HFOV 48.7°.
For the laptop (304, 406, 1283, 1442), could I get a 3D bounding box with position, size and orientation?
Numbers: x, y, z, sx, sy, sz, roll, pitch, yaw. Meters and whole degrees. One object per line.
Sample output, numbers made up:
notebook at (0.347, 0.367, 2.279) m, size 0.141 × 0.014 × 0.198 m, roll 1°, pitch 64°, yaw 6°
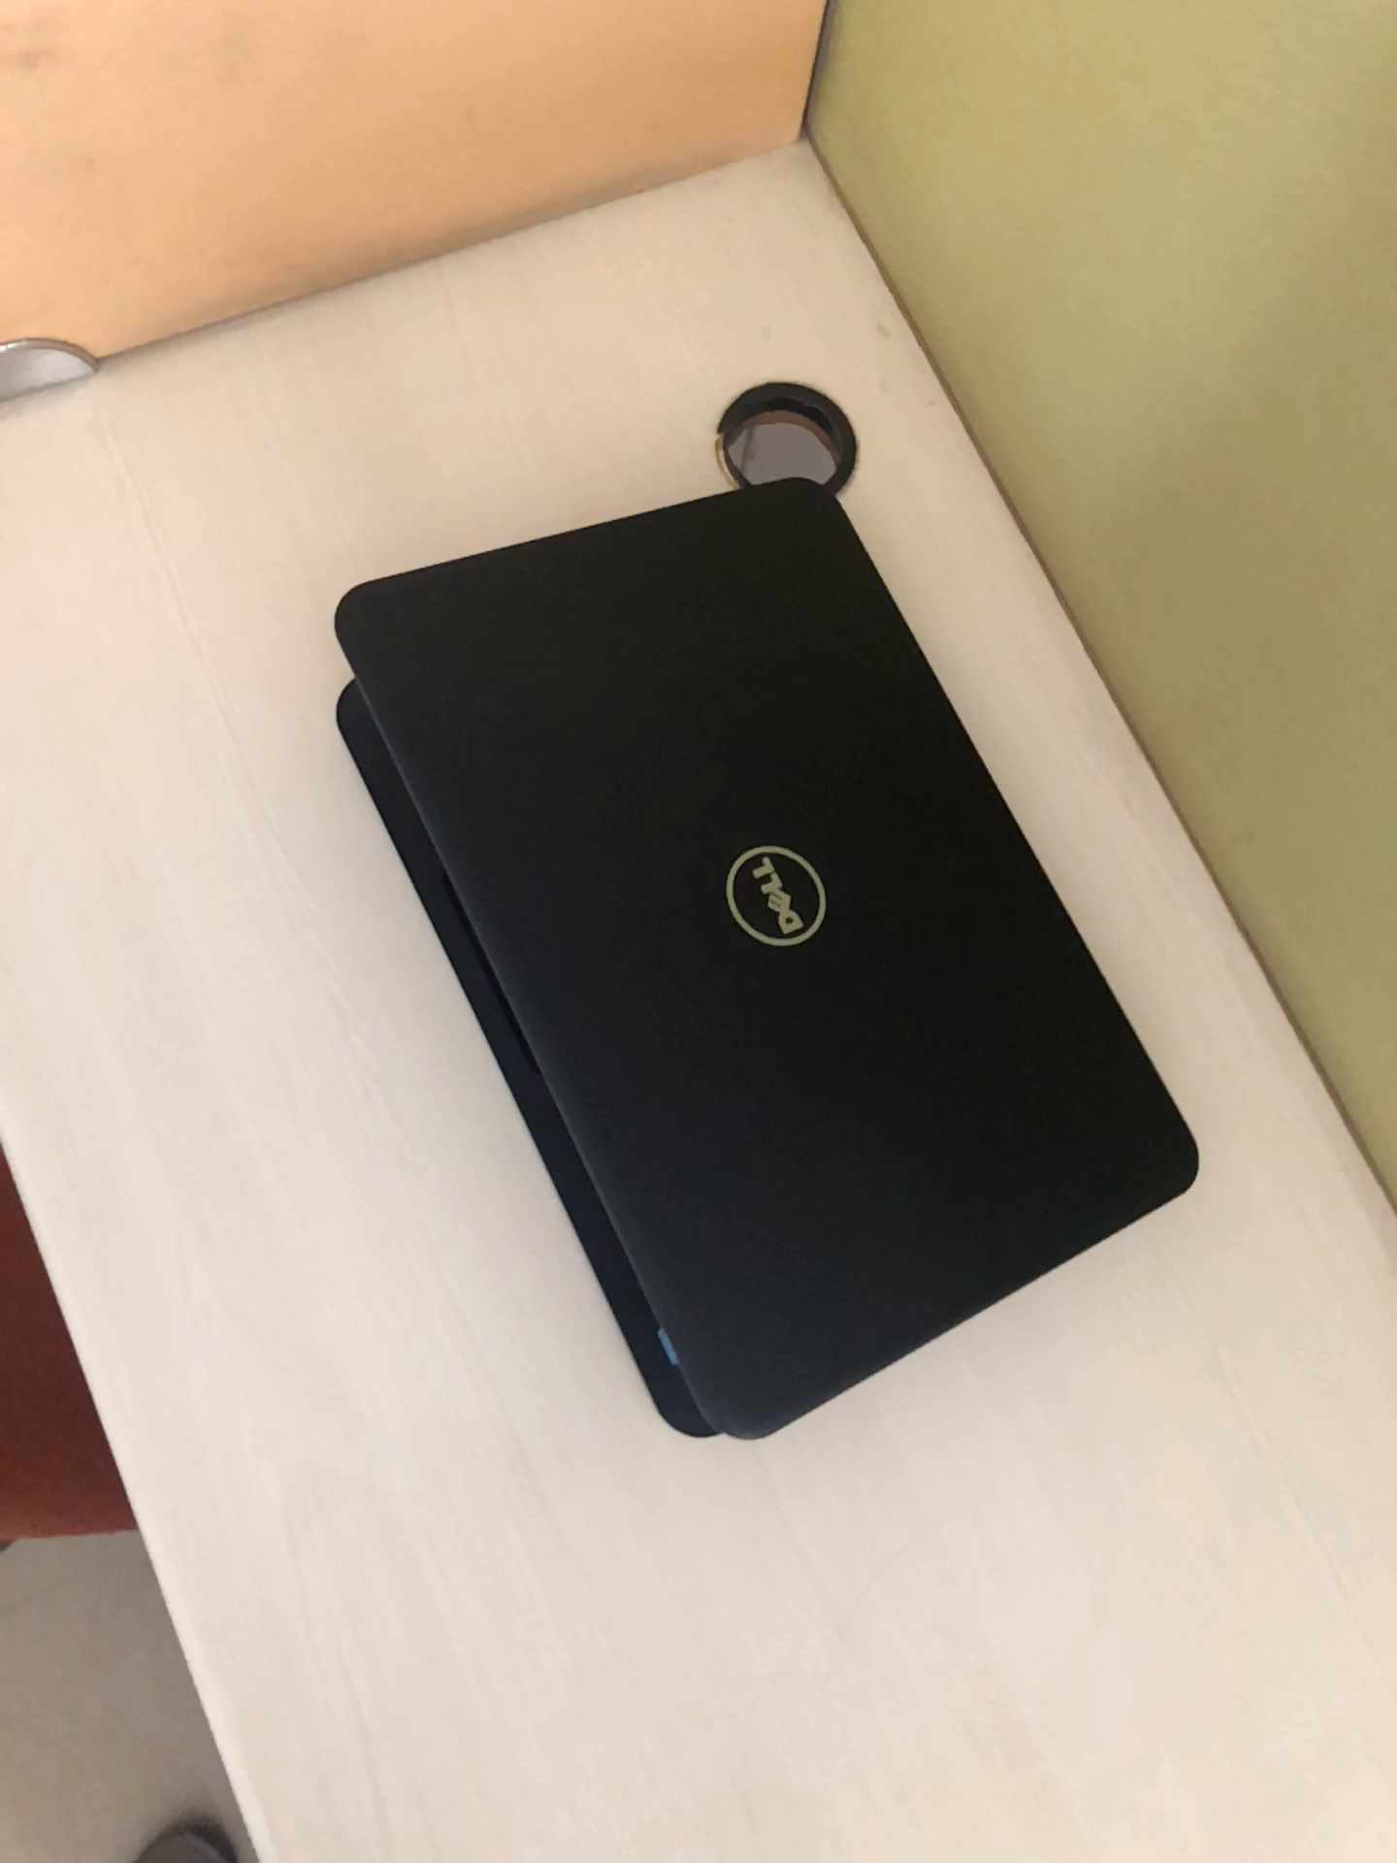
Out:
laptop at (0.030, -0.012, 0.640) m, size 0.247 × 0.079 × 0.353 m, roll -25°, pitch 79°, yaw -10°
